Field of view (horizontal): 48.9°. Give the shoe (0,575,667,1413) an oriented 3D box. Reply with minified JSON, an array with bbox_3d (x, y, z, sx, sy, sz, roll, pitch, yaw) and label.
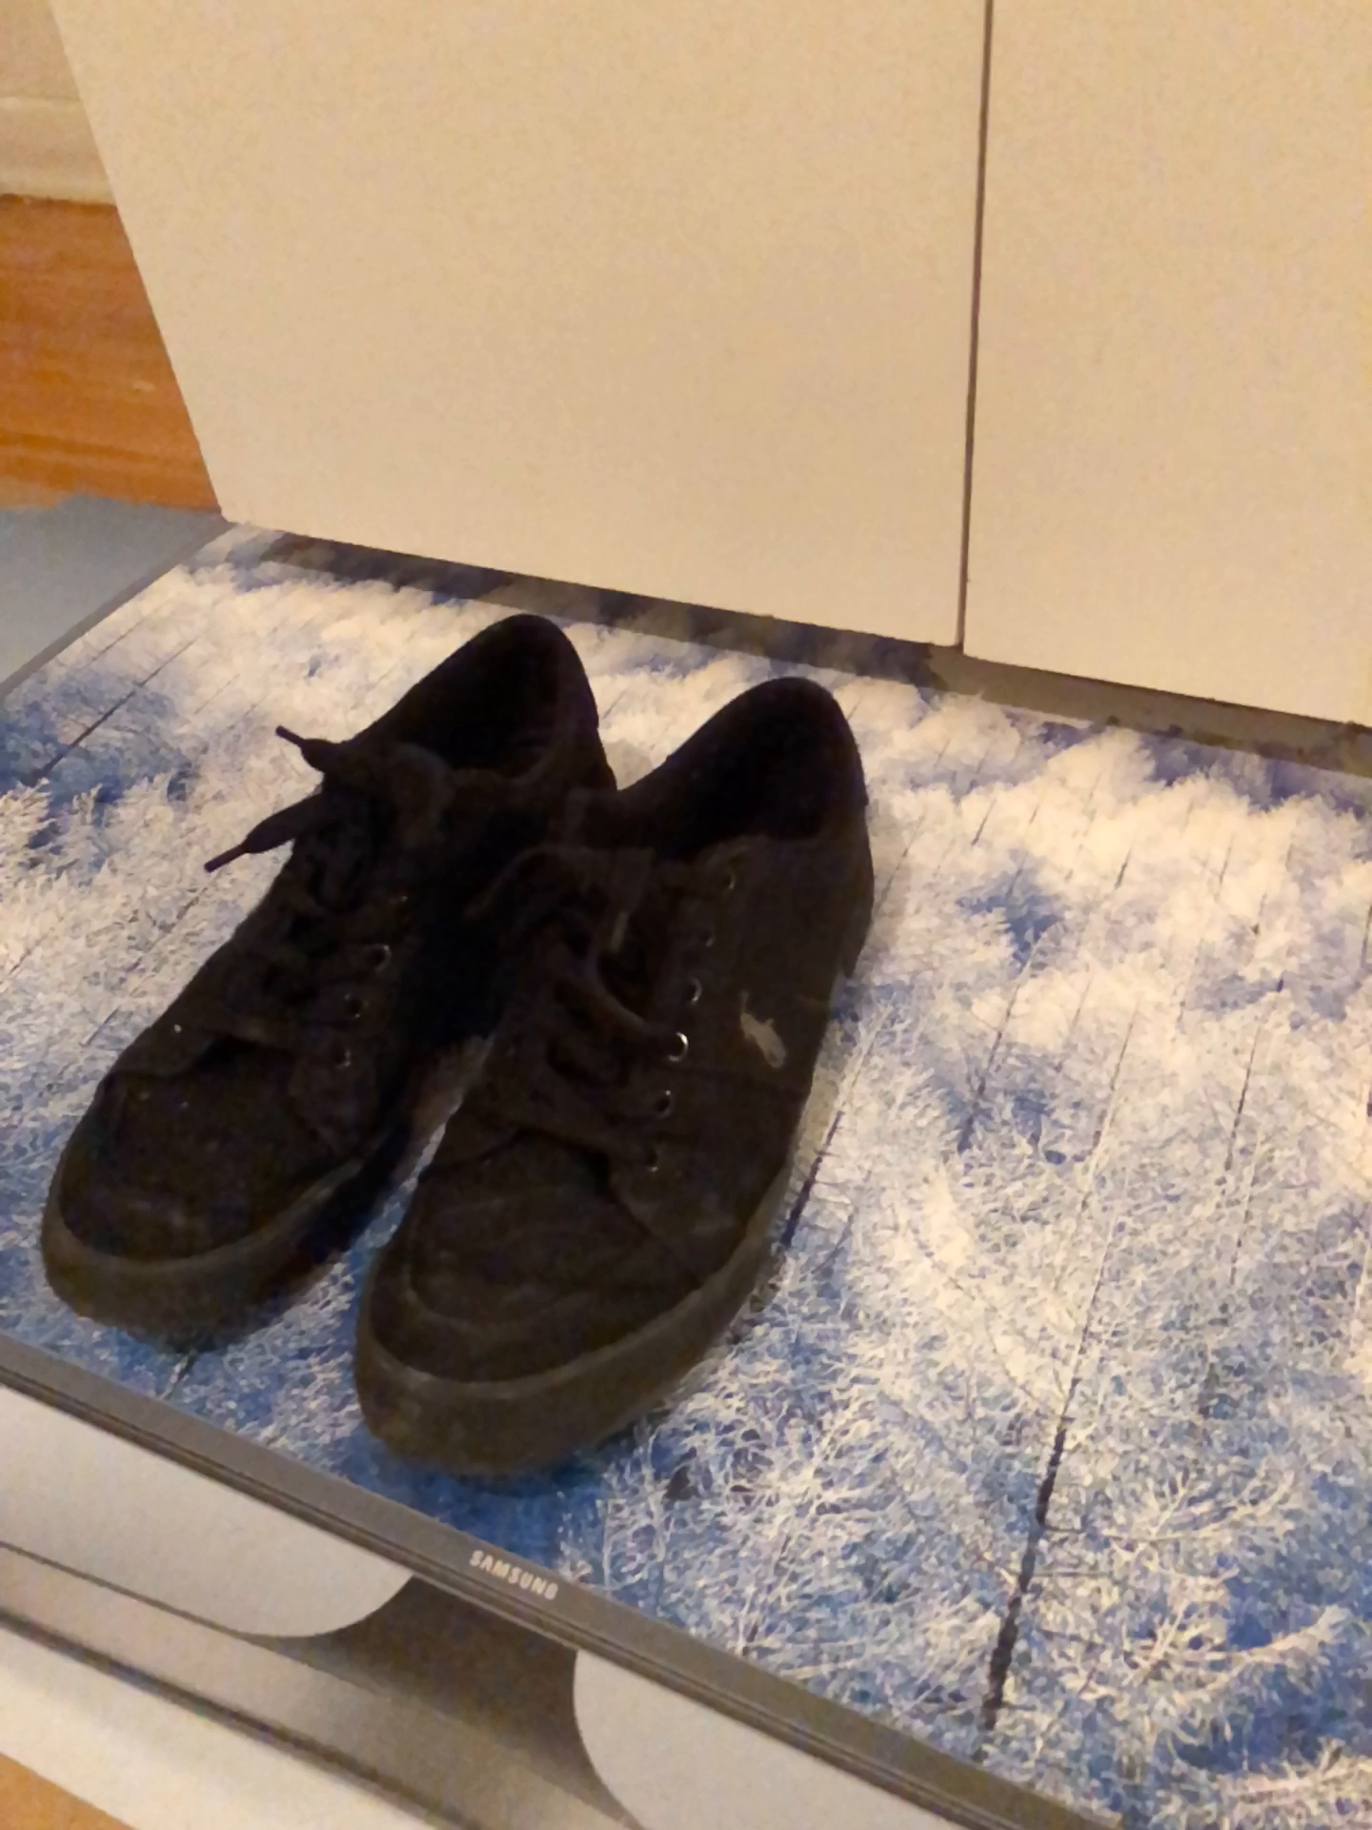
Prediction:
[{"bbox_3d":[-0.120,0.009,0.522,0.110,0.109,0.272,15,48,21],"label":"shoe"}]

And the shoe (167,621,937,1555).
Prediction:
[{"bbox_3d":[-0.018,0.034,0.471,0.110,0.109,0.262,15,48,21],"label":"shoe"}]
